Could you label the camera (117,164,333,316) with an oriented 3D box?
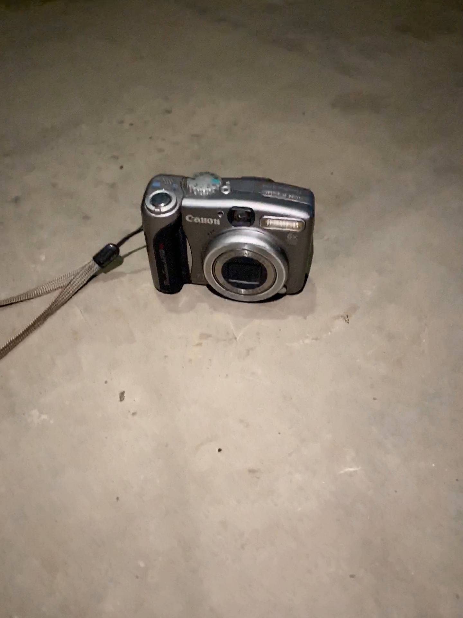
[{"bbox_3d":[-0.002,-0.039,0.276,0.108,0.060,0.048,6,47,4],"label":"camera"}]
